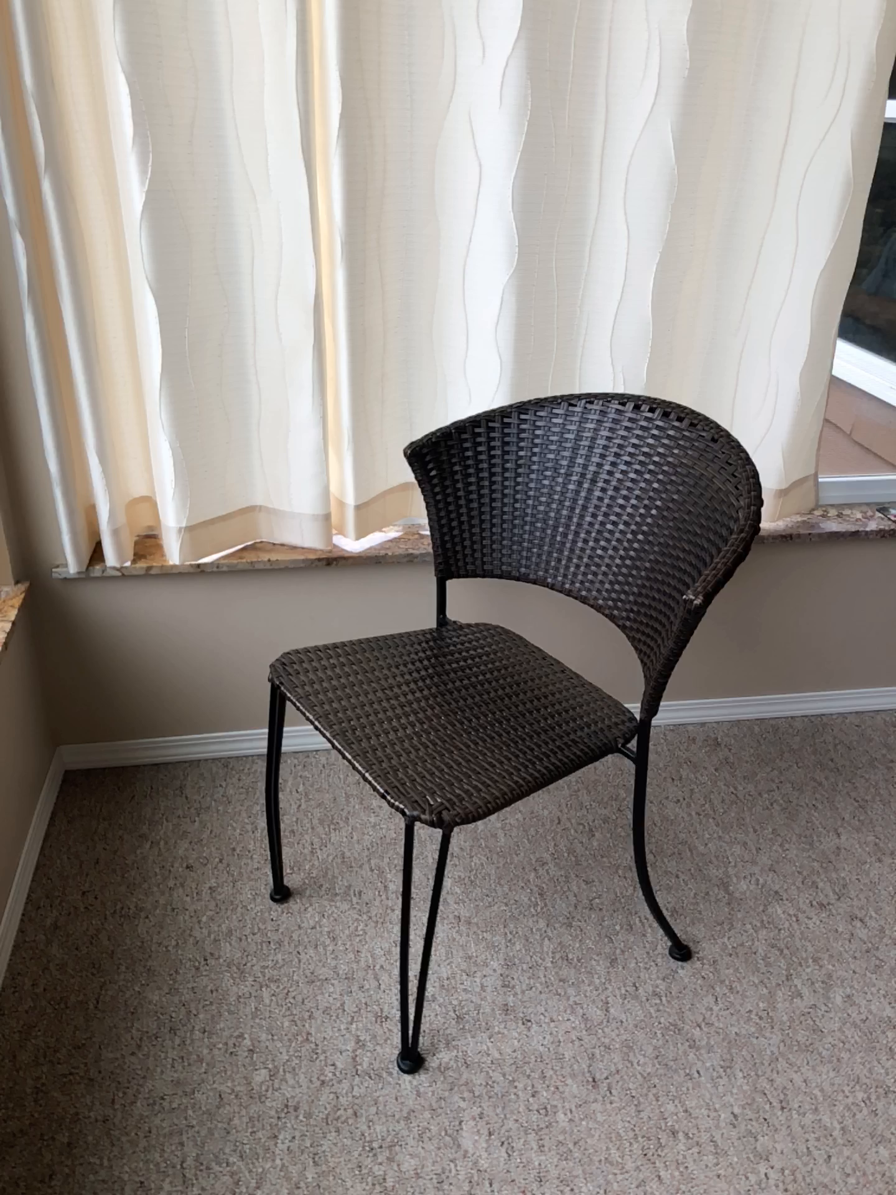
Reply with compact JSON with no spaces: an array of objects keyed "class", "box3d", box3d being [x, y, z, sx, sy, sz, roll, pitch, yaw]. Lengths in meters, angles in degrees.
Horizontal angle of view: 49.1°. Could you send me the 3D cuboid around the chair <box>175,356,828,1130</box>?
[{"class":"chair","box3d":[0.034,0.141,1.416,0.610,0.787,0.562,-15,32,-29]}]
